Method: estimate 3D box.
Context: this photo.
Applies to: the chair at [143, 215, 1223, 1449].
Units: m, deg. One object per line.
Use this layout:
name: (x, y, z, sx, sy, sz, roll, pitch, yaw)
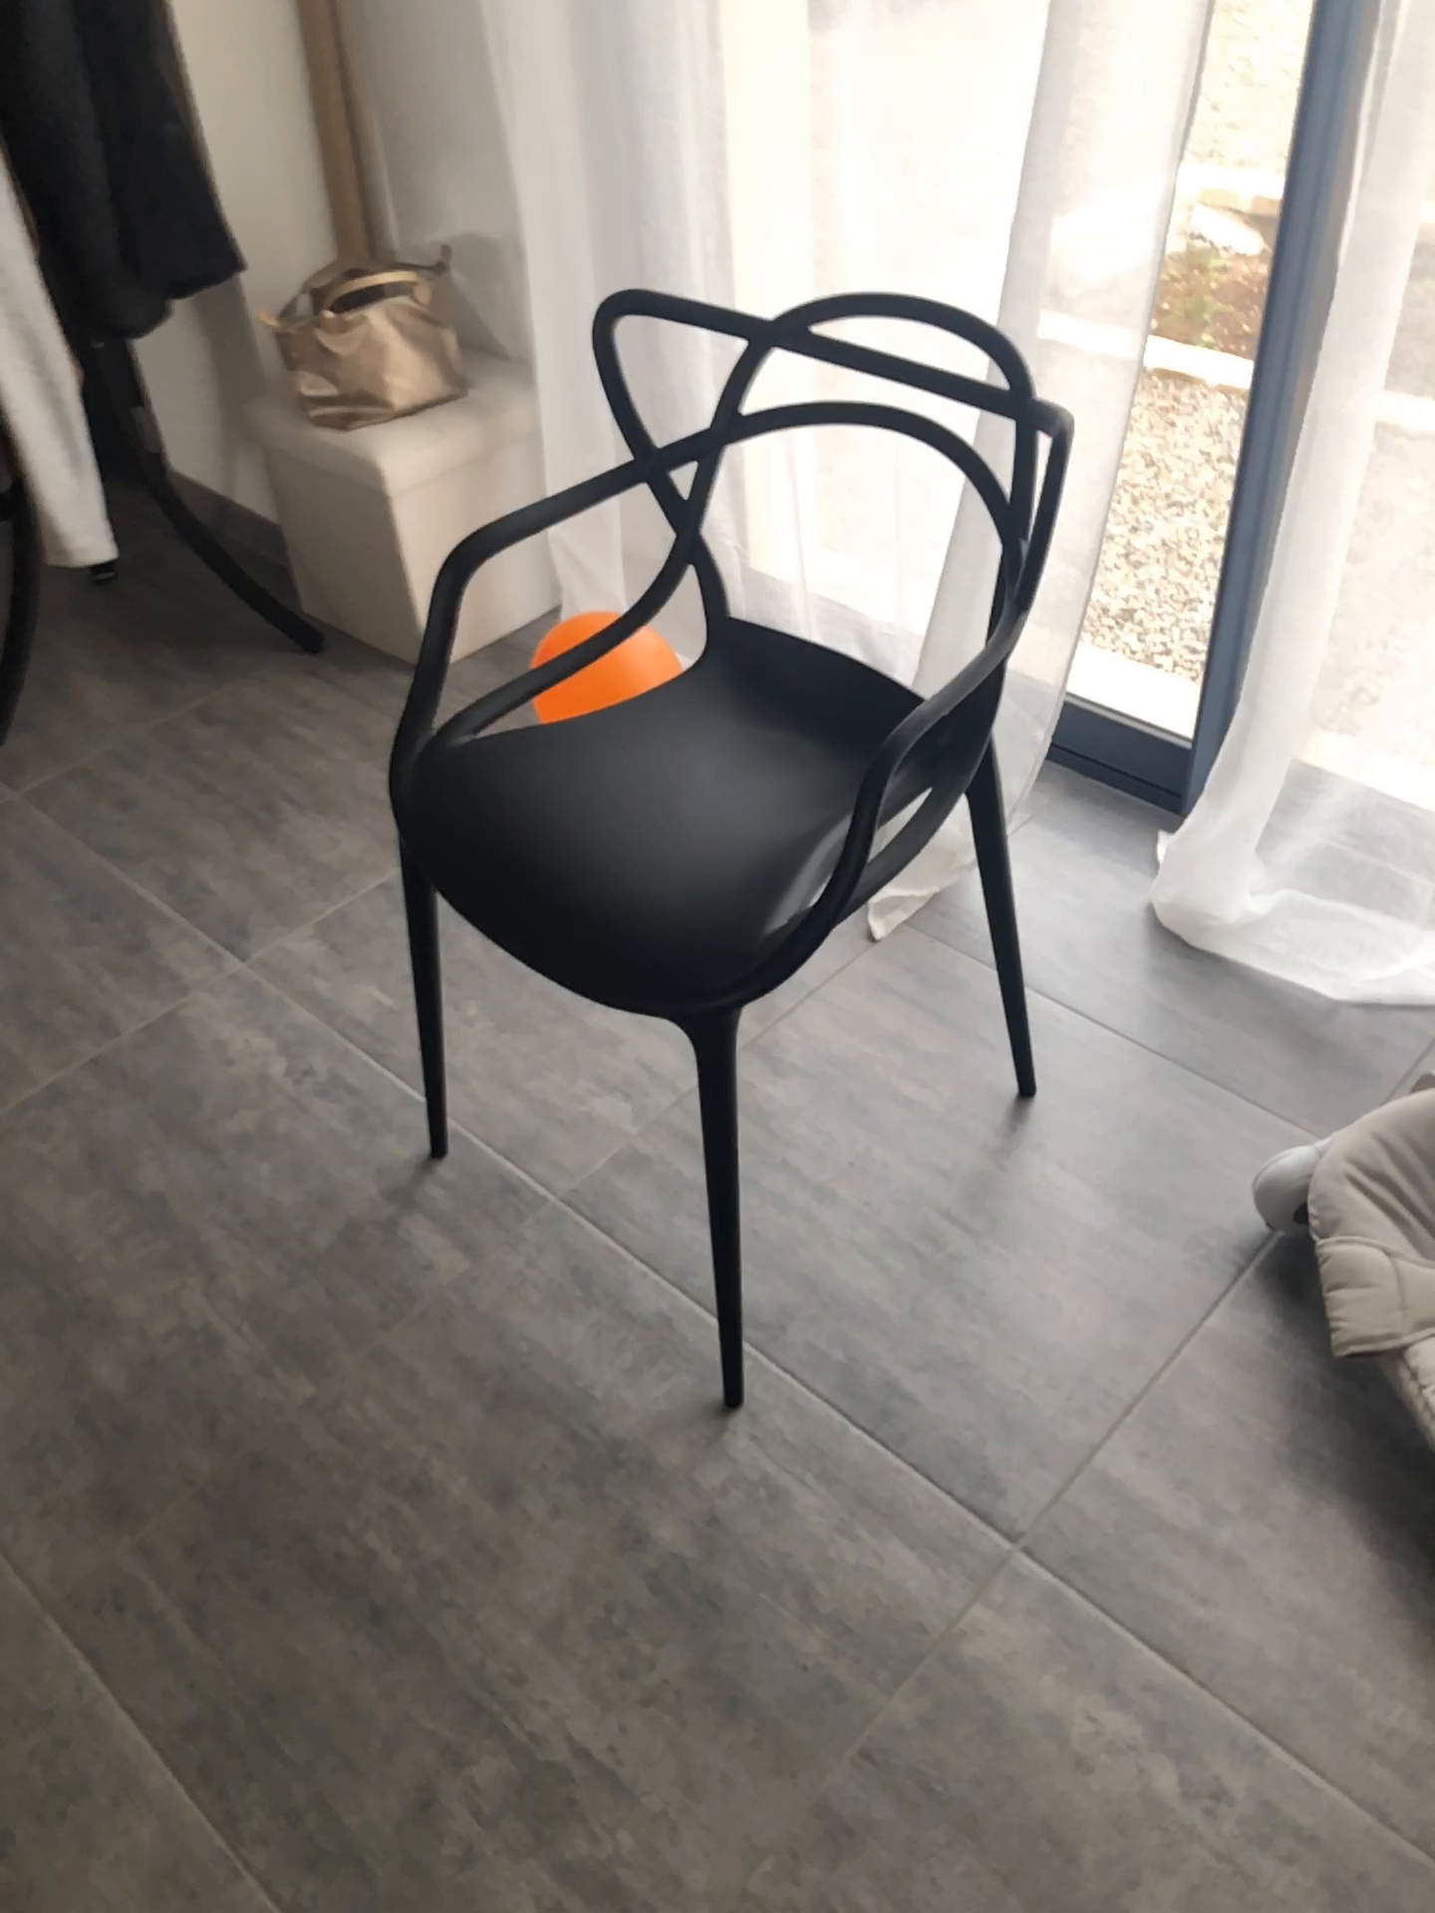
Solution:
chair: (-0.007, -0.133, 1.437, 0.588, 0.795, 0.563, -34, 49, -30)
